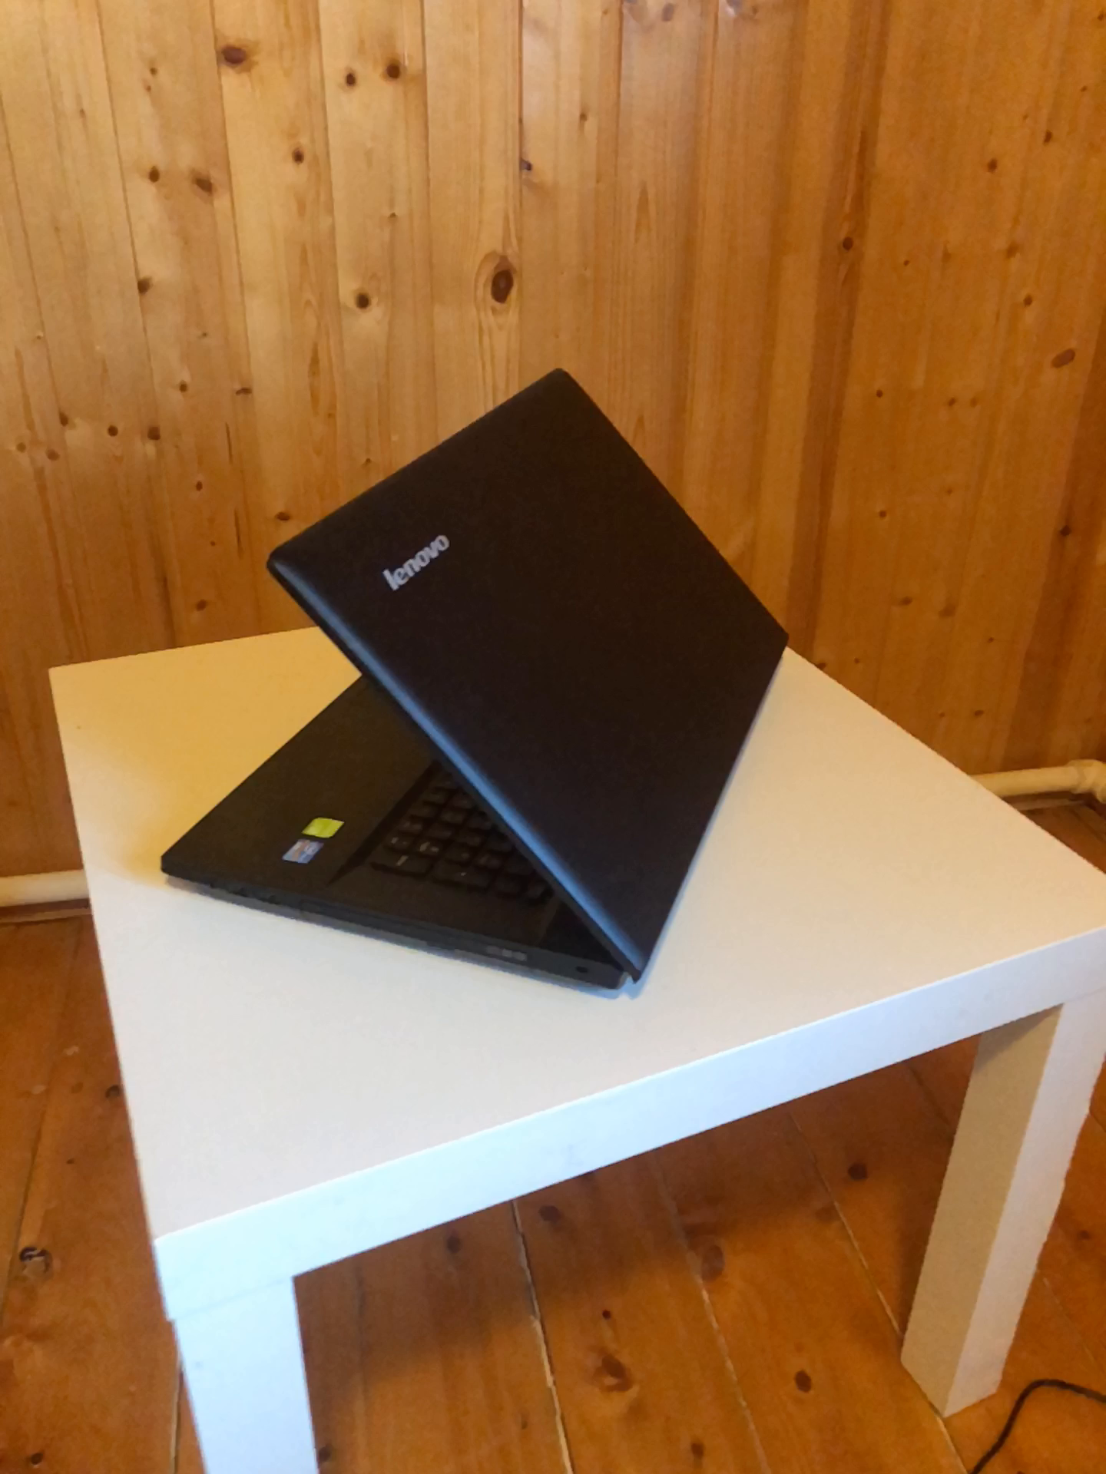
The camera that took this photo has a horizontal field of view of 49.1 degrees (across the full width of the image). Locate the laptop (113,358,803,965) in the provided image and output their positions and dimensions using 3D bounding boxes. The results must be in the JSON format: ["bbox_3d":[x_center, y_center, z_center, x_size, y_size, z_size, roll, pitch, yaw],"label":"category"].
[{"bbox_3d":[-0.022,-0.085,0.739,0.260,0.179,0.391,10,32,17],"label":"laptop"}]
